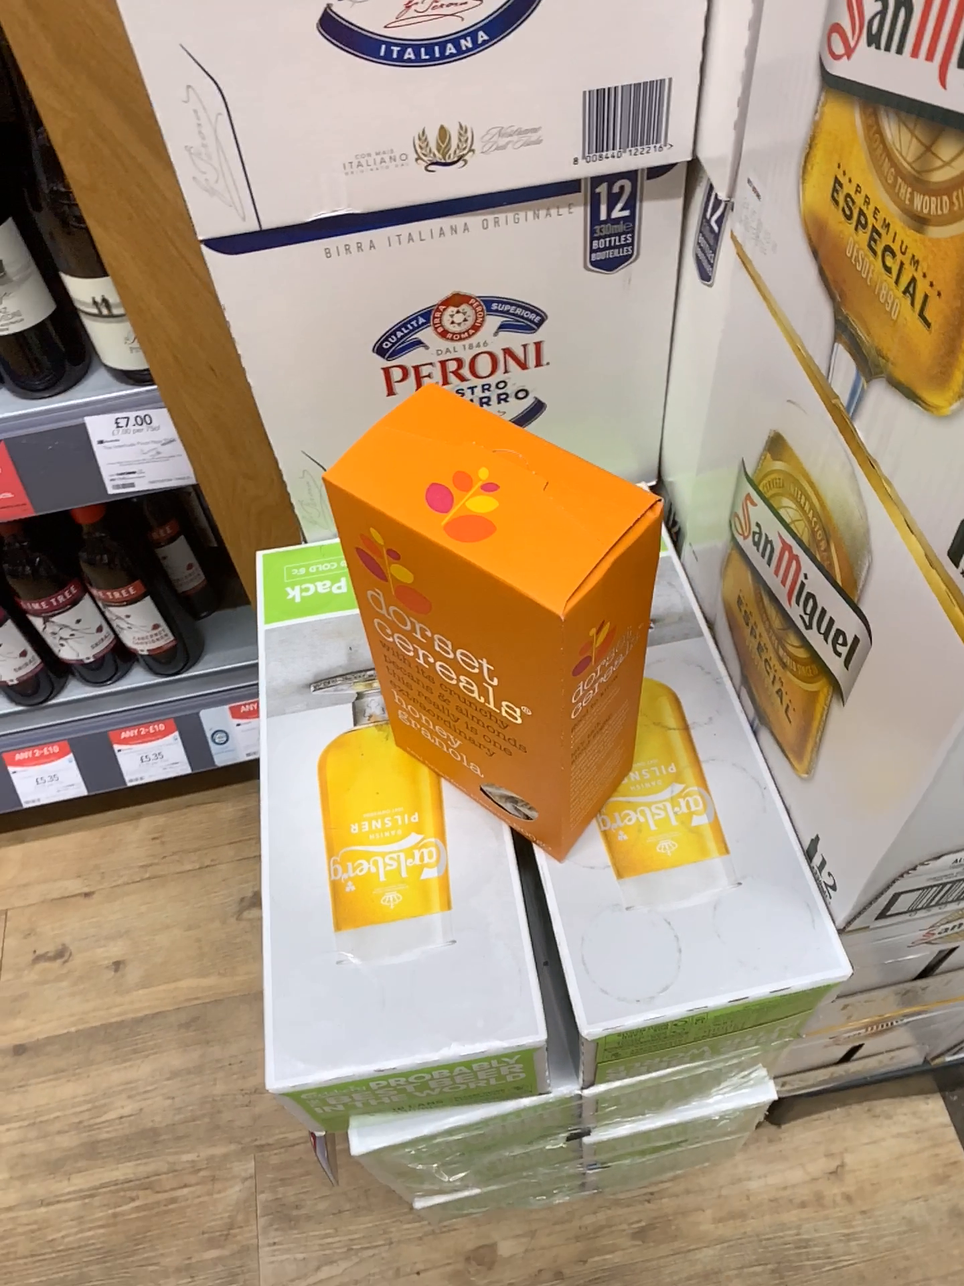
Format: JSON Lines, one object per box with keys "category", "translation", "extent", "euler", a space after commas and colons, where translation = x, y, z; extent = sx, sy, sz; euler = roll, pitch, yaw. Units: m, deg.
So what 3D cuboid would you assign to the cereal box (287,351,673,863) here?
{"category": "cereal box", "translation": [0.005, -0.005, 0.430], "extent": [0.120, 0.198, 0.070], "euler": [32, 63, 25]}
